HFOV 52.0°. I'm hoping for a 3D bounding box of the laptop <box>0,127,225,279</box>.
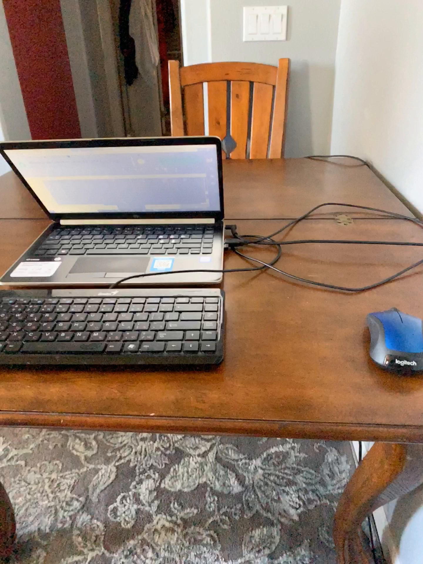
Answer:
[{"bbox_3d":[-0.136,-0.126,0.654,0.302,0.157,0.200,0,30,4],"label":"laptop"}]
